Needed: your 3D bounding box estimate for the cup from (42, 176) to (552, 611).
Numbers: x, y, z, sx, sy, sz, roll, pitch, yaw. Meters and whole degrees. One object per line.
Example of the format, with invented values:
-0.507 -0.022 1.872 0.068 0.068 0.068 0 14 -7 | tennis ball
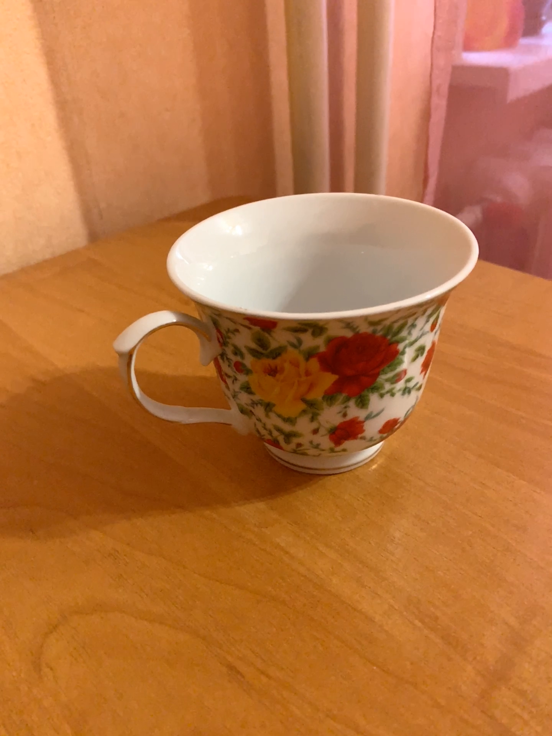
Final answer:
0.005 -0.008 0.194 0.120 0.067 0.100 -24 39 -27 | cup
